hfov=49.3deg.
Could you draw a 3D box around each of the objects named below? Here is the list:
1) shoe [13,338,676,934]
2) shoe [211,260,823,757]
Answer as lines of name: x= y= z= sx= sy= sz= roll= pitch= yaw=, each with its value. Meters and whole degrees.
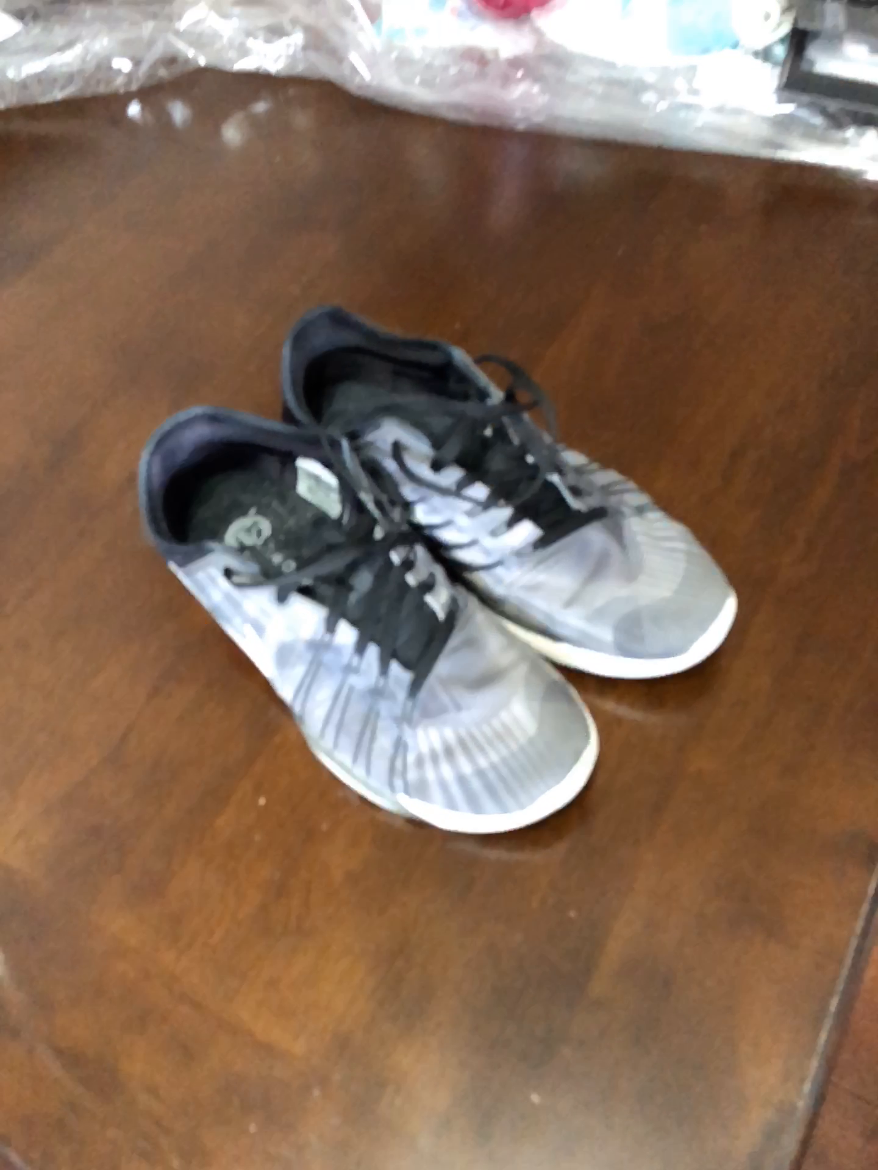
shoe: x=-0.039 y=0.010 z=0.372 sx=0.230 sy=0.090 sz=0.100 roll=32 pitch=66 yaw=26
shoe: x=0.026 y=-0.042 z=0.416 sx=0.230 sy=0.080 sz=0.100 roll=32 pitch=66 yaw=26
